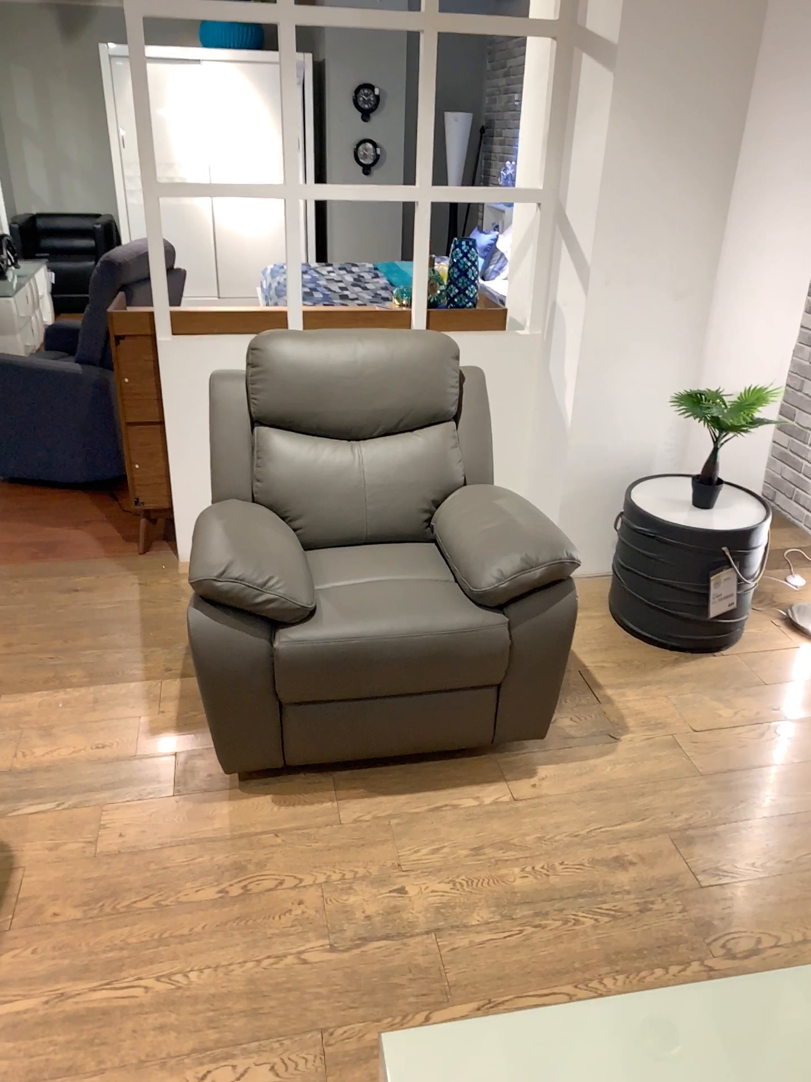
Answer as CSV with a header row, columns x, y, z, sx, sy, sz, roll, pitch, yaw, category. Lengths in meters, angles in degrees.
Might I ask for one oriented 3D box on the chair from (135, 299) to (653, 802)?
x,y,z,sx,sy,sz,roll,pitch,yaw,category
-0.096,-0.066,2.185,1.000,0.936,0.944,-4,27,-11,chair
